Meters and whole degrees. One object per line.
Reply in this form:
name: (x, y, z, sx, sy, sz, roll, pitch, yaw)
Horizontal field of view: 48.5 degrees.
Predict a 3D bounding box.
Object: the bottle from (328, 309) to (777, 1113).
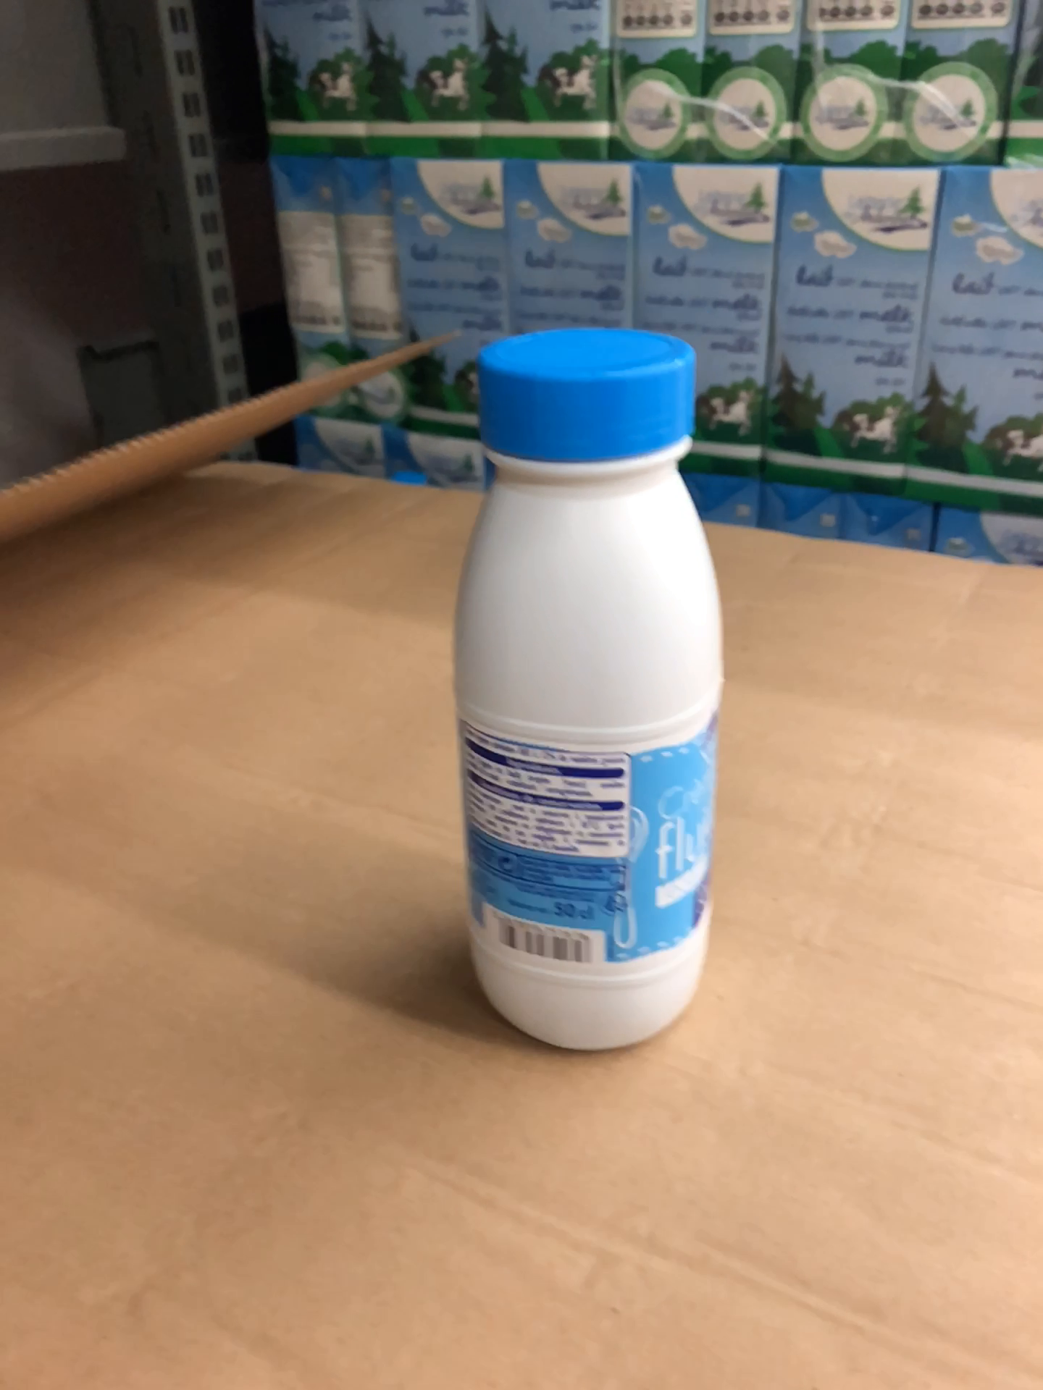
bottle: (0.014, 0.003, 0.311, 0.080, 0.189, 0.081, -2, 28, 1)
